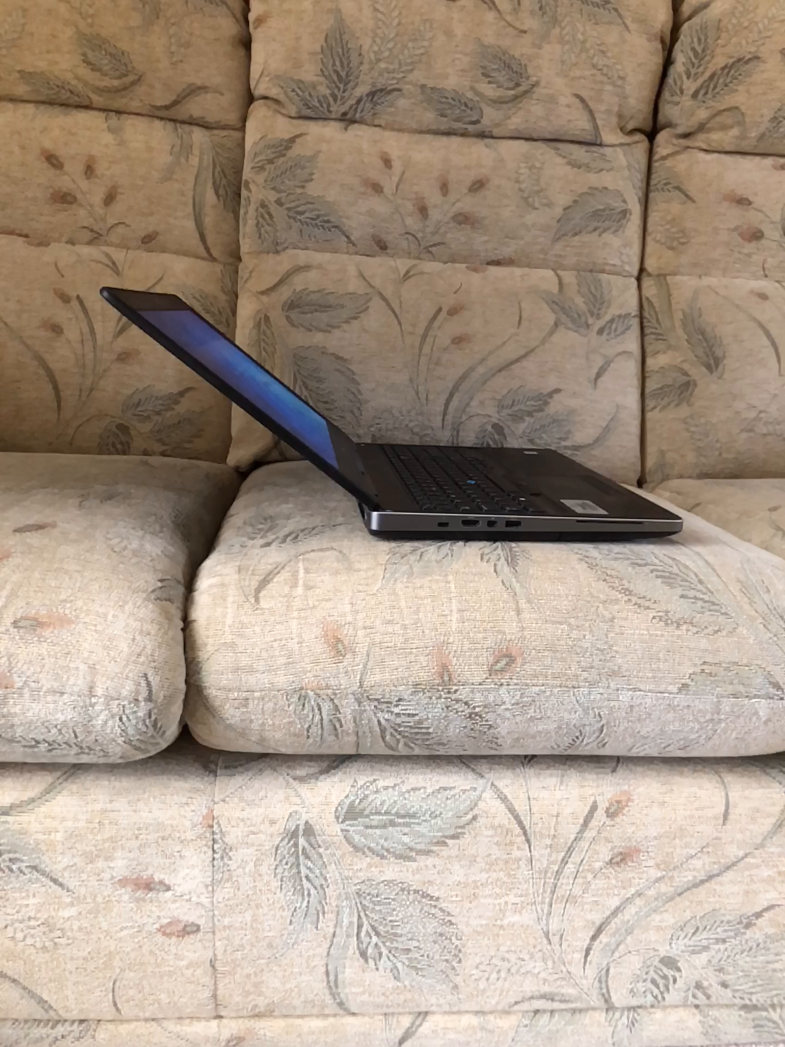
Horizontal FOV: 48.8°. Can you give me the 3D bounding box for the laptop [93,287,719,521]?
[{"bbox_3d":[-0.006,-0.127,0.819,0.451,0.157,0.356,1,16,-6],"label":"laptop"}]
